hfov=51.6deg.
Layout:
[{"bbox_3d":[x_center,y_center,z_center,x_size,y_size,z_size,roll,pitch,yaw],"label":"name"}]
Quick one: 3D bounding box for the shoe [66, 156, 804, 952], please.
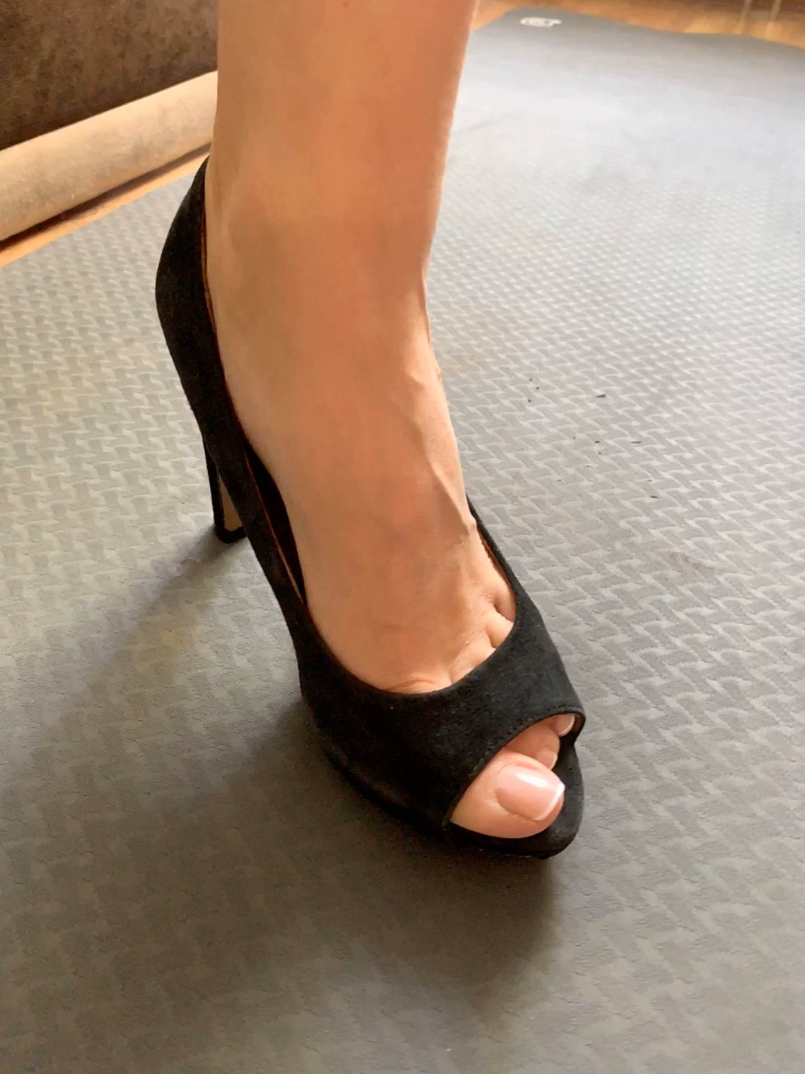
[{"bbox_3d":[-0.011,-0.013,0.267,0.090,0.139,0.211,-24,48,-29],"label":"shoe"}]
